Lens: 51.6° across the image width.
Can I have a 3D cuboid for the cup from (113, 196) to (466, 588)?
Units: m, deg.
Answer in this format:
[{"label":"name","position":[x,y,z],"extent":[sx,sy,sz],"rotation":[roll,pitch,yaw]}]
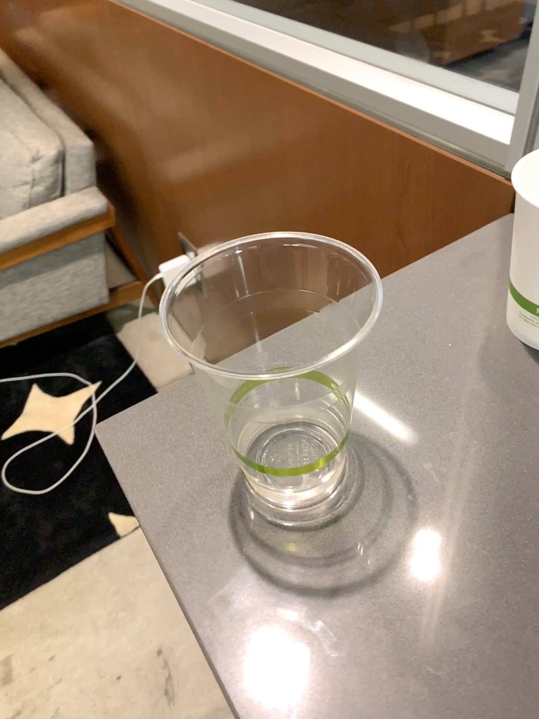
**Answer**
[{"label":"cup","position":[0.011,0.013,0.265],"extent":[0.100,0.119,0.101],"rotation":[-4,45,4]}]
